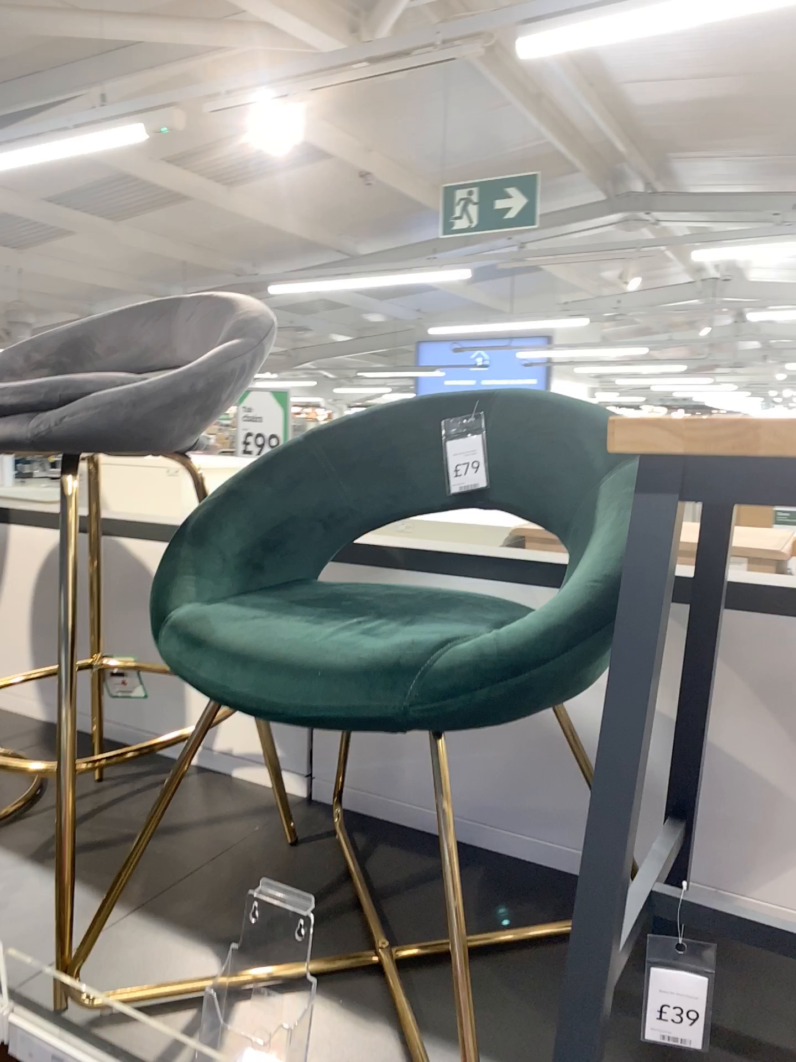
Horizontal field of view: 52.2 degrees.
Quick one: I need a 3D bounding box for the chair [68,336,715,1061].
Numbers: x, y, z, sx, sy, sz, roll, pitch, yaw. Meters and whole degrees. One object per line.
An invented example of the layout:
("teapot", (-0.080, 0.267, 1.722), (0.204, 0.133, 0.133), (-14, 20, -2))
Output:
("chair", (0.019, 0.182, 1.065), (0.630, 0.775, 0.555), (5, 7, 28))
